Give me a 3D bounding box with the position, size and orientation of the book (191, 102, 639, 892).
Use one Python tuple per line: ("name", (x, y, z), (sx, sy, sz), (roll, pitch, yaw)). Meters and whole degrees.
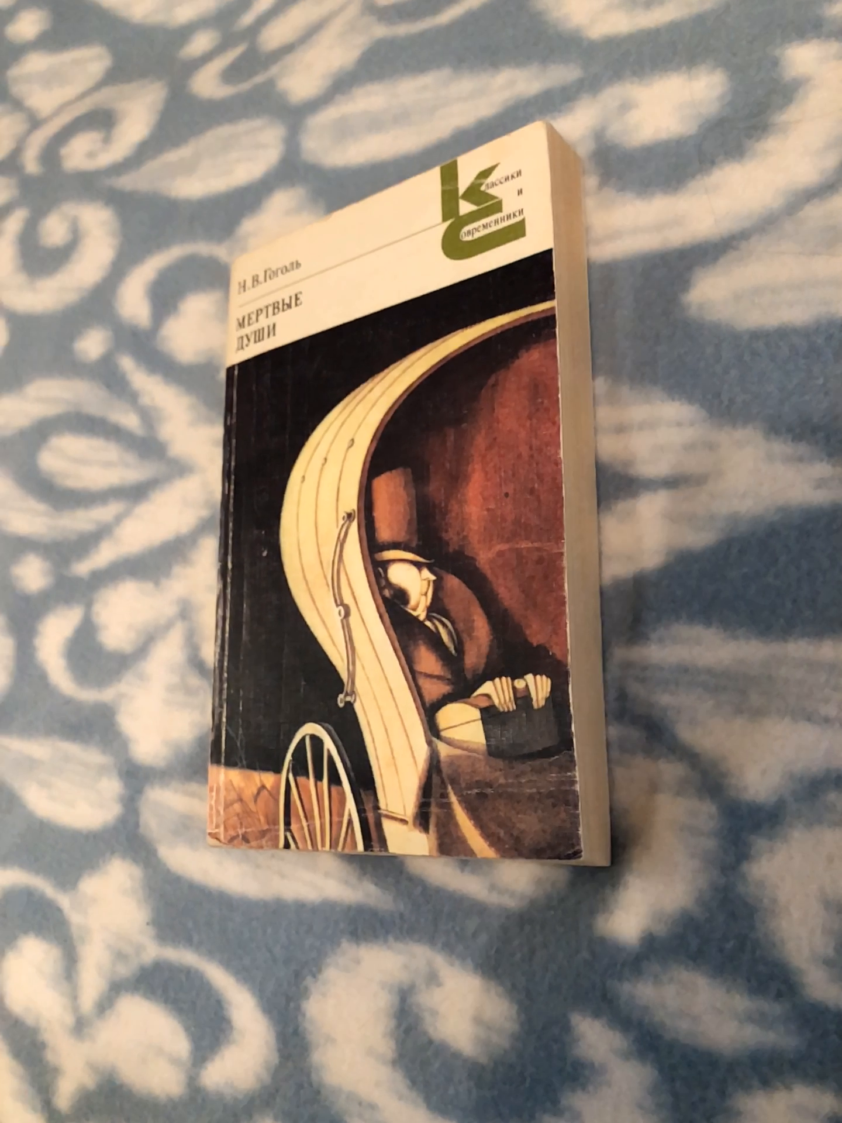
("book", (-0.008, -0.014, 0.270), (0.126, 0.025, 0.199), (-10, 73, 33))
